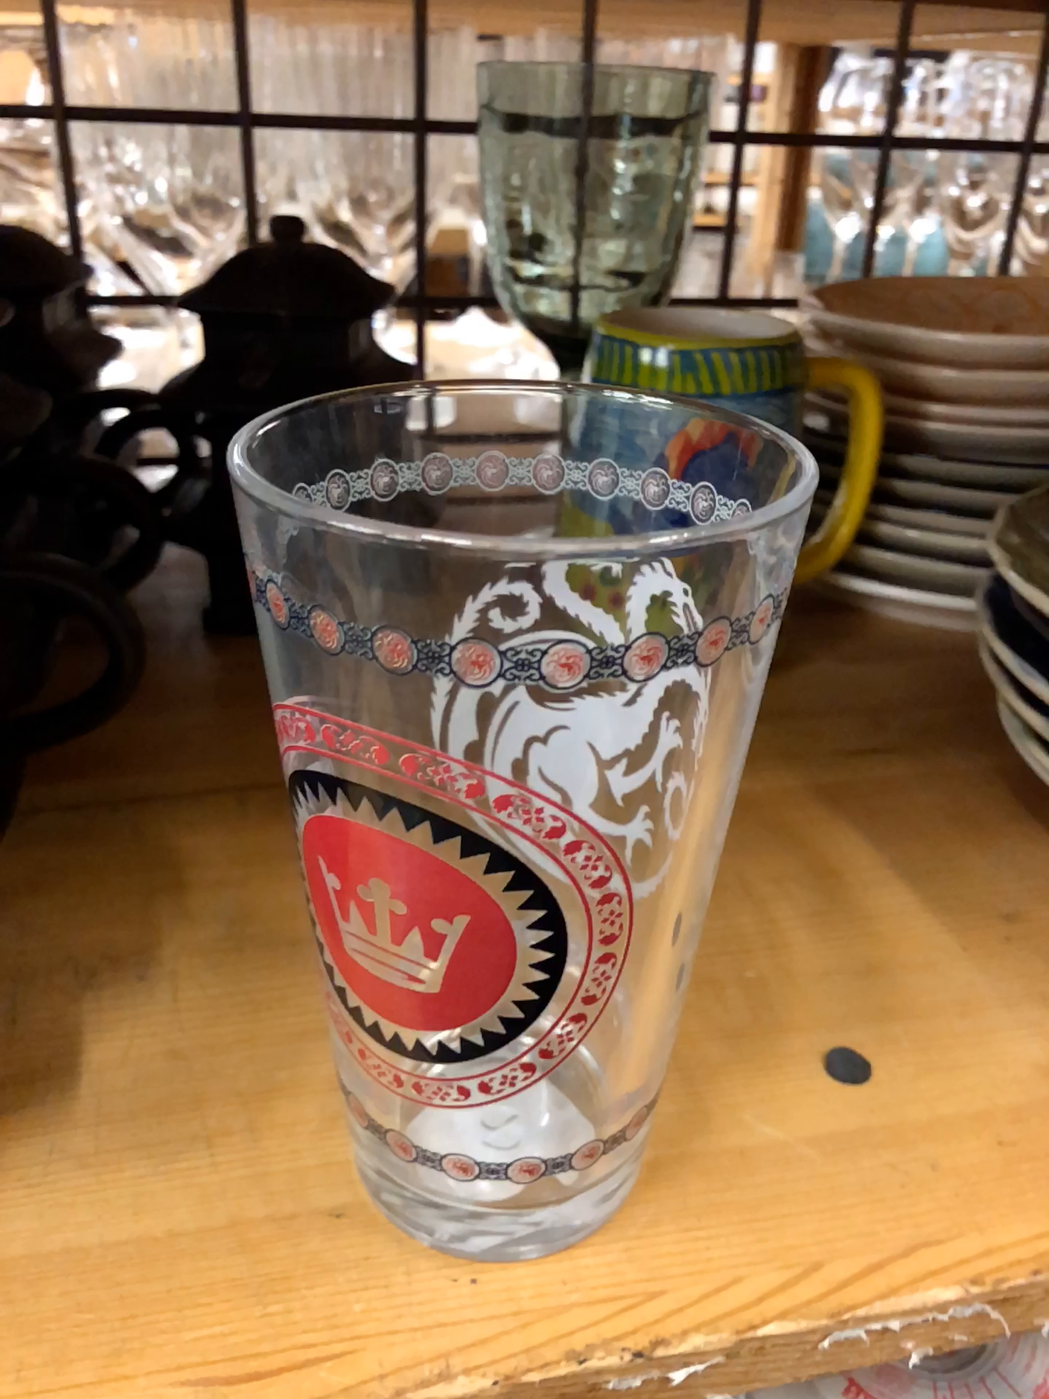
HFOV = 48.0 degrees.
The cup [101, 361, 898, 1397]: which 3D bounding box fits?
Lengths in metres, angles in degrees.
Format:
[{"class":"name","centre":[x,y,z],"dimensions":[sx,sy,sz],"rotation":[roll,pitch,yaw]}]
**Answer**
[{"class":"cup","centre":[-0.002,0.021,0.203],"dimensions":[0.085,0.132,0.084],"rotation":[2,27,-1]}]
